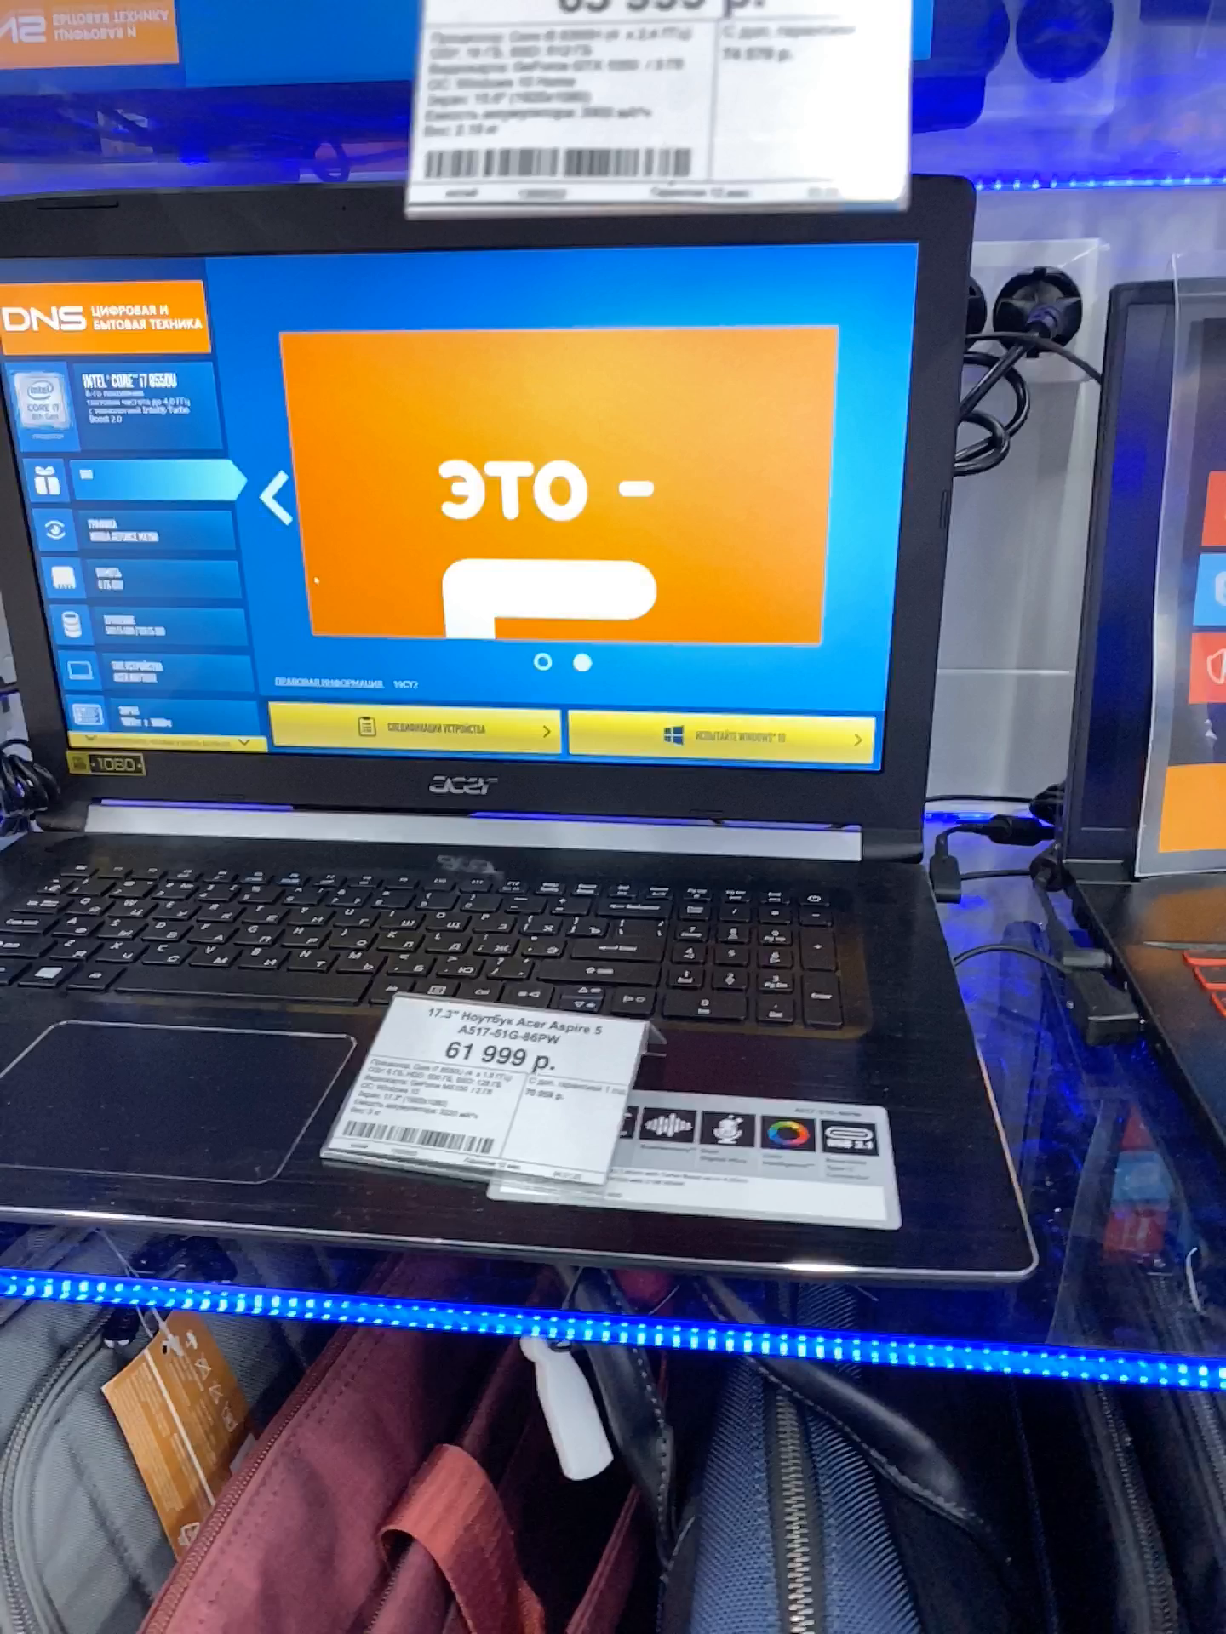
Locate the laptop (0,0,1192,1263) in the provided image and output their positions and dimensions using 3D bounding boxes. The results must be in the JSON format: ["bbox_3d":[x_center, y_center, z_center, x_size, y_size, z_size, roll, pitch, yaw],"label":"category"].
[{"bbox_3d":[-0.090,-0.071,0.418,0.421,0.277,0.273,2,20,7],"label":"laptop"}]
